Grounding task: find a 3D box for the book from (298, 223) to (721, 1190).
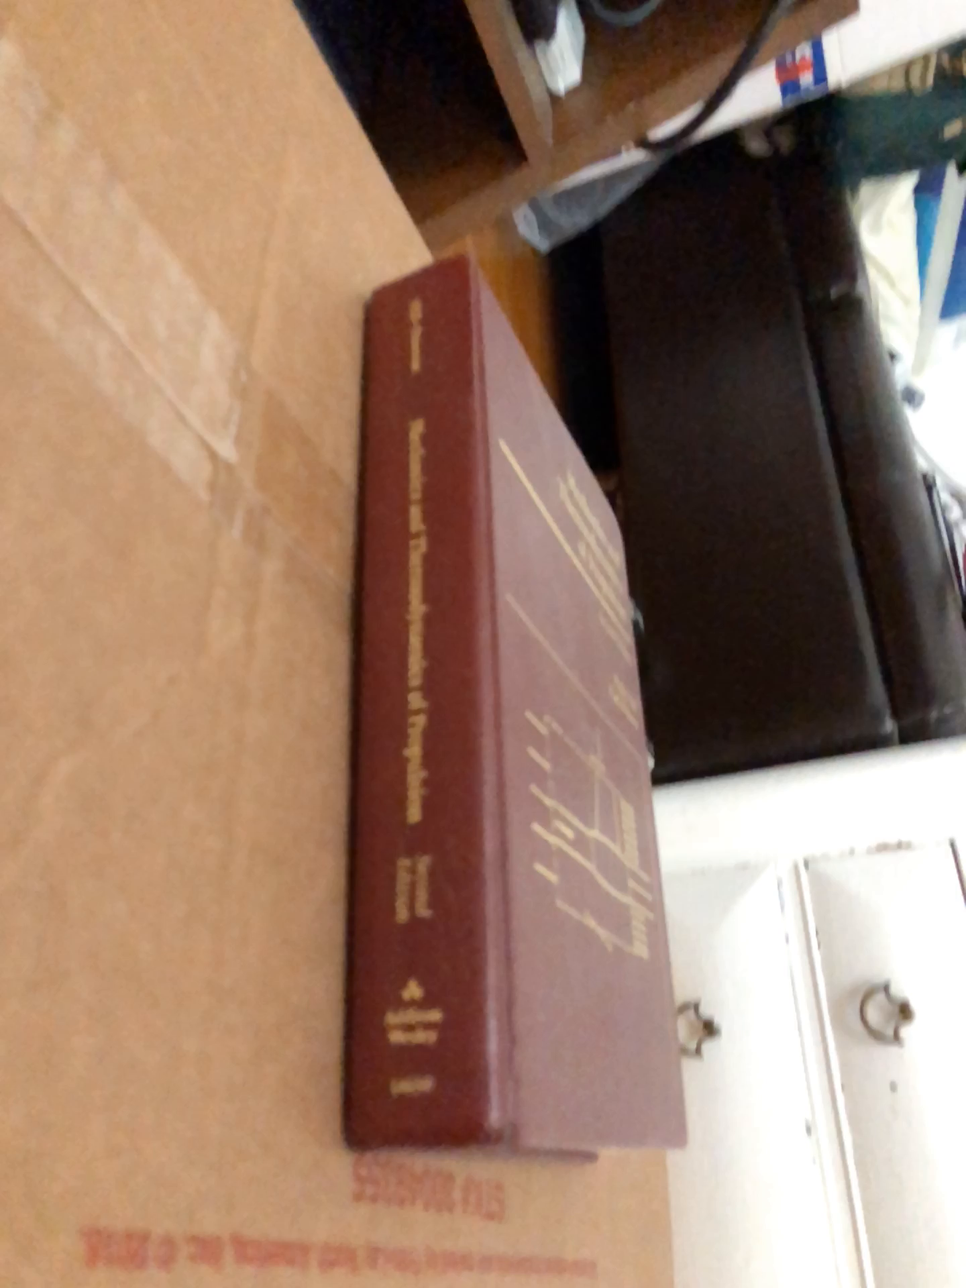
[{"bbox_3d":[0.017,0.031,0.325,0.190,0.040,0.240,48,35,-55],"label":"book"}]
